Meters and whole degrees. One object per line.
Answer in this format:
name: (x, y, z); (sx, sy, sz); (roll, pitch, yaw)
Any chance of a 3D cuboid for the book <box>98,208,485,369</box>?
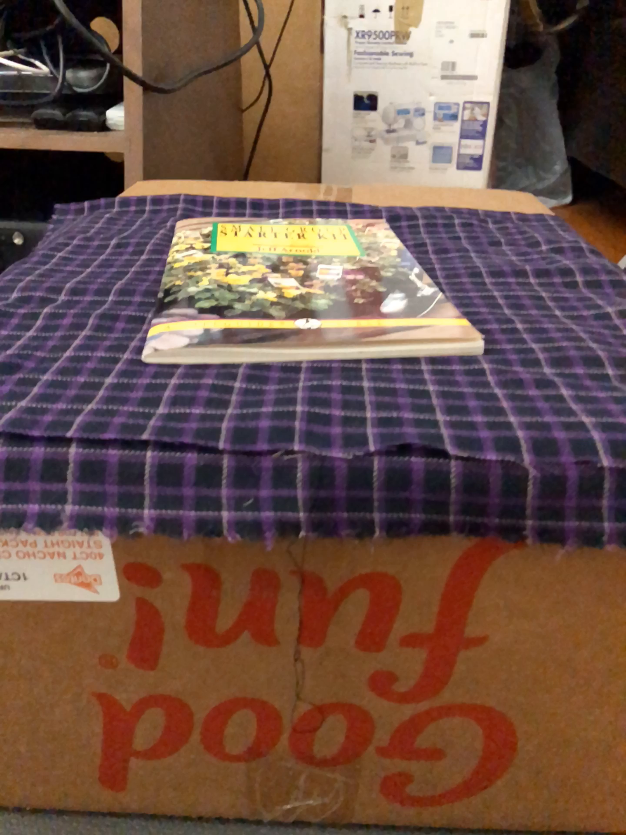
book: (-0.018, -0.080, 0.366); (0.150, 0.010, 0.221); (-2, 29, -5)
